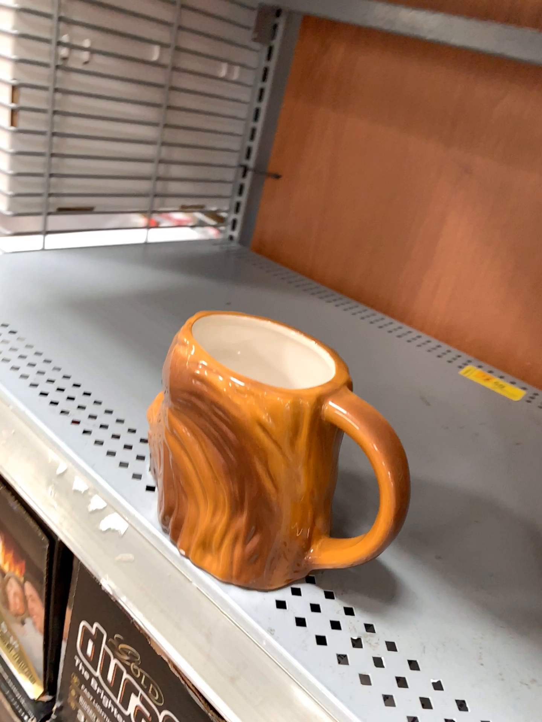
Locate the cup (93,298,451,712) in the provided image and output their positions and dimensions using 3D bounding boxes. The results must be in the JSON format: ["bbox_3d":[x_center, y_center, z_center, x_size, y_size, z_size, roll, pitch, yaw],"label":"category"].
[{"bbox_3d":[-0.008,0.062,0.299,0.131,0.138,0.098,32,31,30],"label":"cup"}]
